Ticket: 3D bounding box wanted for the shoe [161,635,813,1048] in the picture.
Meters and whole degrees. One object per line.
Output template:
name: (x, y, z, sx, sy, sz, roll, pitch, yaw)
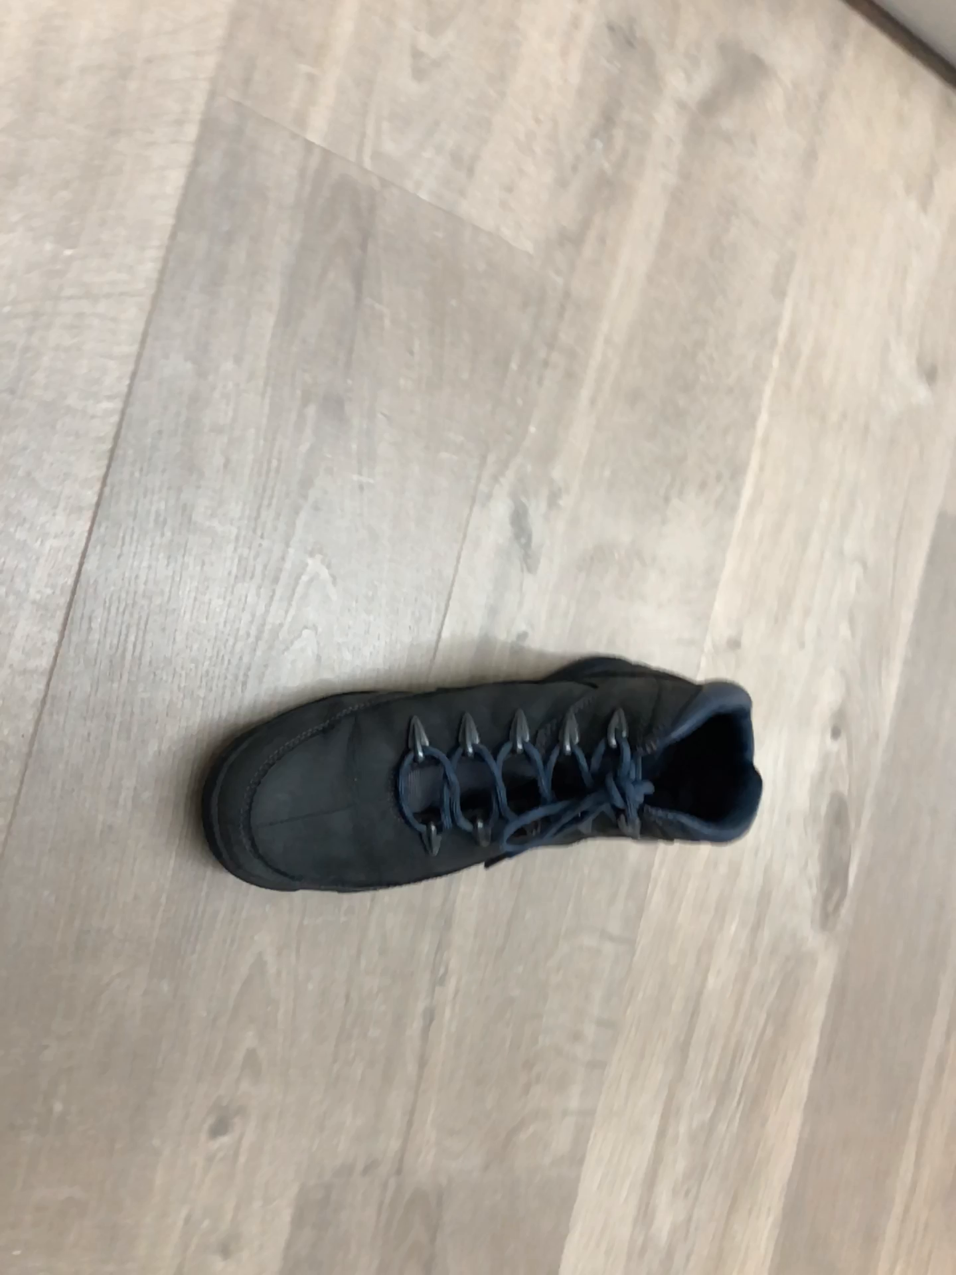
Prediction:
shoe: (0.011, 0.078, 0.523, 0.291, 0.130, 0.110, -9, 99, -29)
